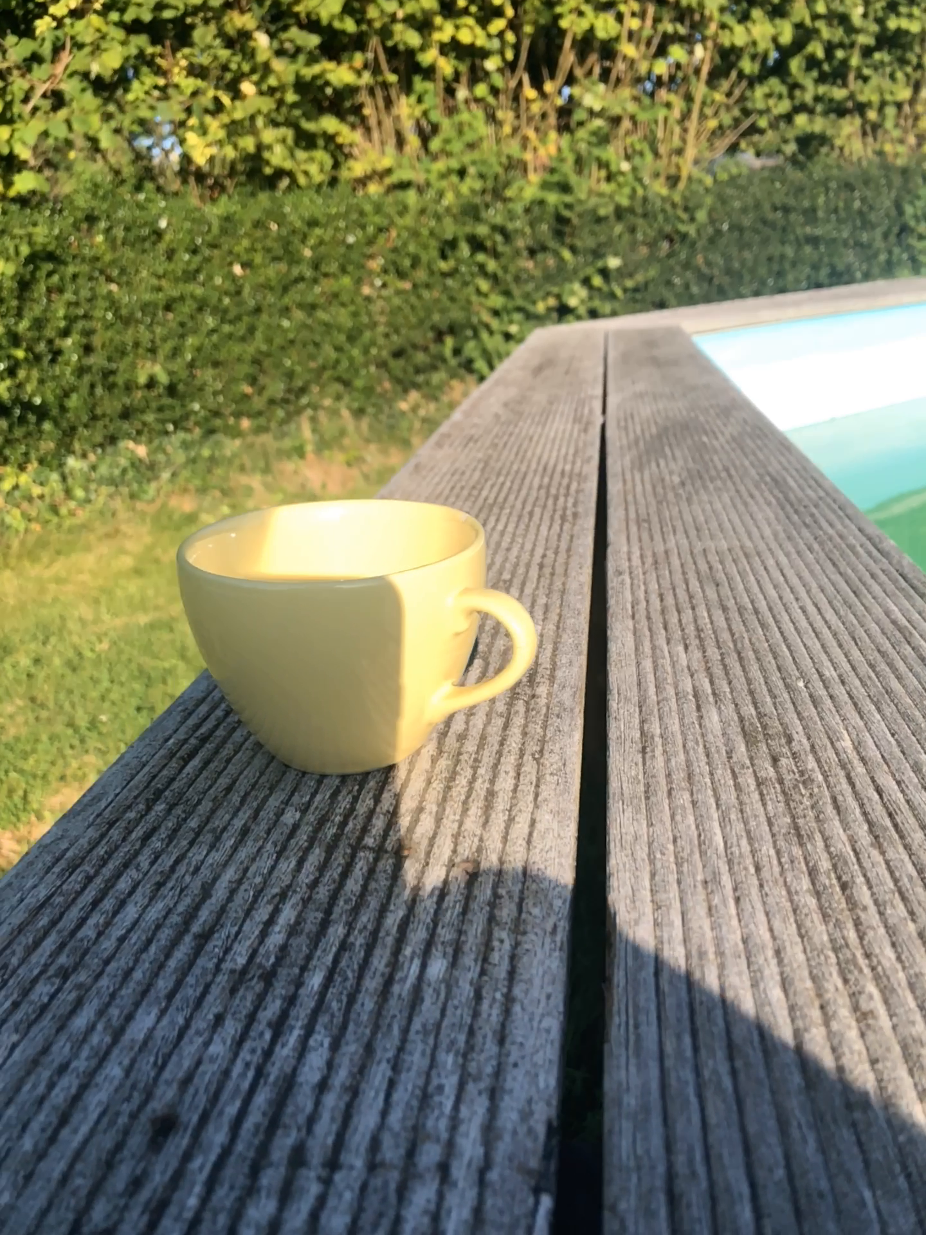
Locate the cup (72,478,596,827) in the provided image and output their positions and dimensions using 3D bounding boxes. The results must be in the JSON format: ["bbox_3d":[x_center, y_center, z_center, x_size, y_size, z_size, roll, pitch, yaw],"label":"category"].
[{"bbox_3d":[-0.034,0.000,0.288,0.112,0.053,0.089,11,24,36],"label":"cup"}]
